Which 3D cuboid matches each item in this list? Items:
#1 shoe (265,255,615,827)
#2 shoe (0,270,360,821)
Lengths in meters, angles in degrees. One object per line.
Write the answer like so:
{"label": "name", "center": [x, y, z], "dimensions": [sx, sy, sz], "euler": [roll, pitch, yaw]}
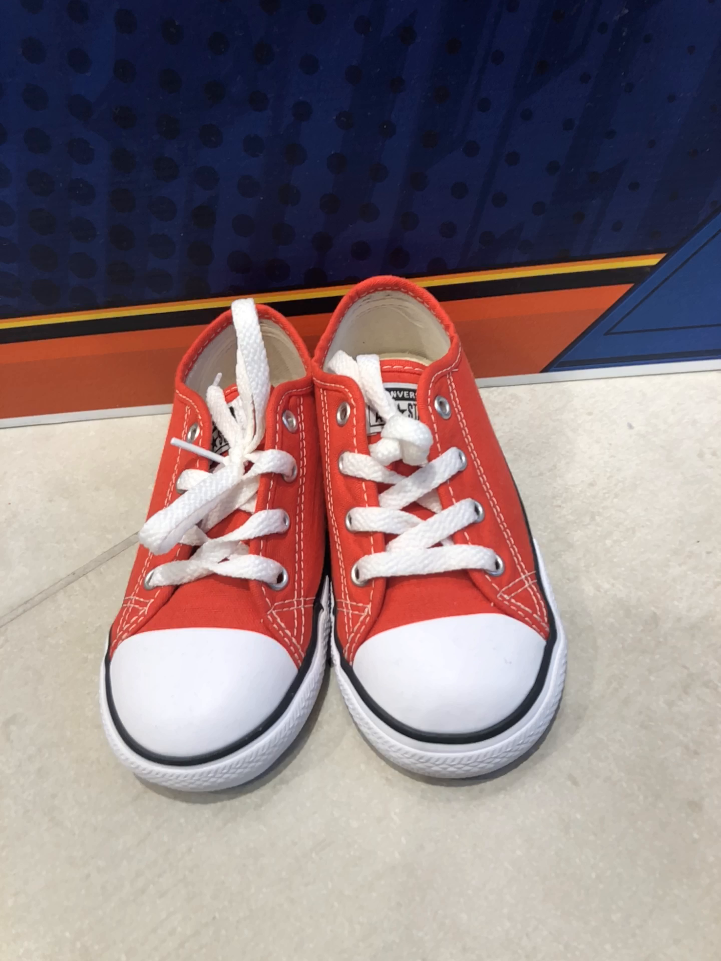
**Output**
{"label": "shoe", "center": [0.016, 0.007, 0.286], "dimensions": [0.080, 0.070, 0.191], "euler": [-10, 47, 1]}
{"label": "shoe", "center": [-0.047, 0.012, 0.288], "dimensions": [0.080, 0.070, 0.191], "euler": [-3, 47, 7]}
